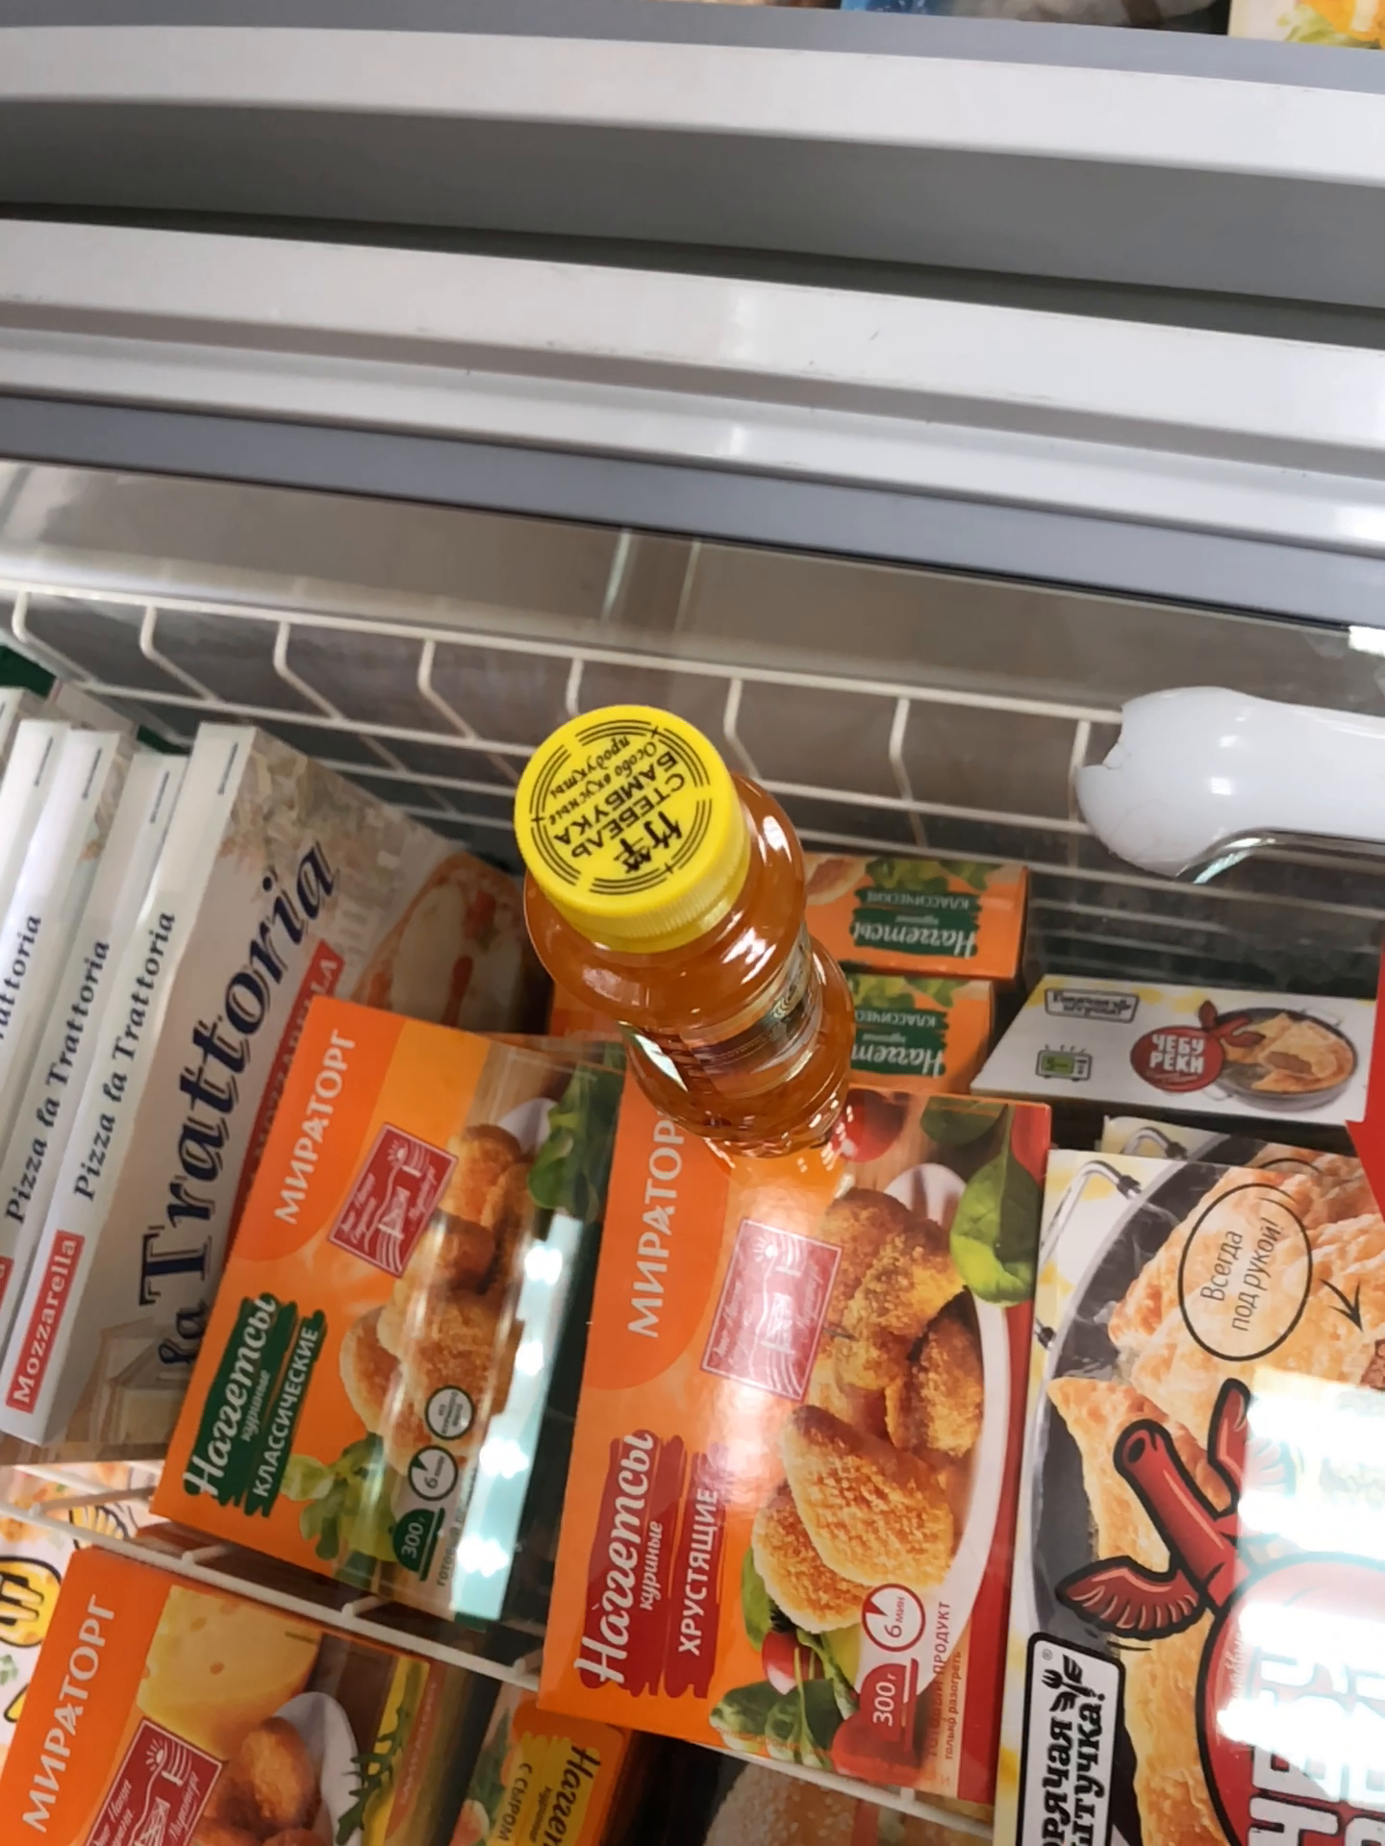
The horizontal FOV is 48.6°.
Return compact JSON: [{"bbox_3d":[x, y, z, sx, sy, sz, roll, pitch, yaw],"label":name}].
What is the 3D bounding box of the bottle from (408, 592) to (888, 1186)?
[{"bbox_3d":[0.005,0.011,0.295,0.049,0.201,0.051,-2,75,8],"label":"bottle"}]
